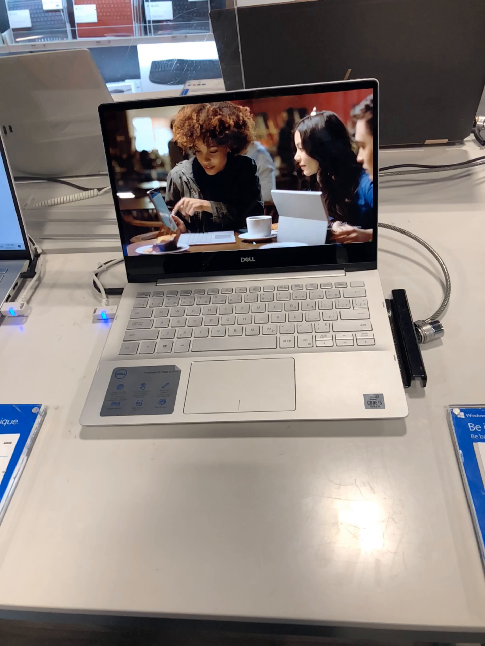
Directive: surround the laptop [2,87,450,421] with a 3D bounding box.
[{"bbox_3d":[-0.001,-0.070,0.499,0.285,0.186,0.265,-2,42,6],"label":"laptop"}]
